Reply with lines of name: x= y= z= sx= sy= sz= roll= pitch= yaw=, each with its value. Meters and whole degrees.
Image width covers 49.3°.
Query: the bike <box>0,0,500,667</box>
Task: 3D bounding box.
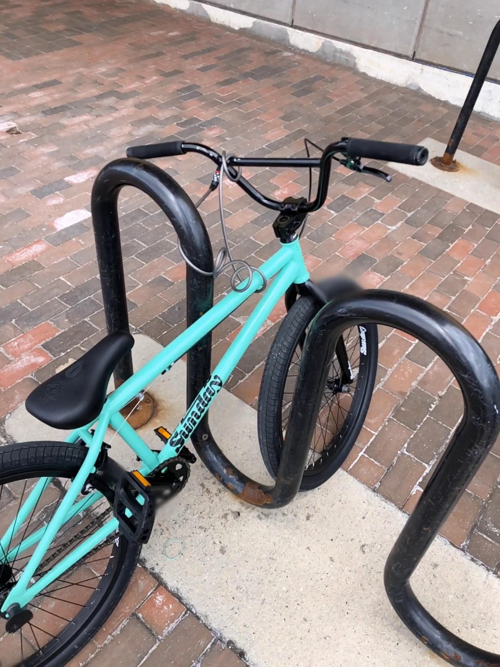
bike: x=-0.167 y=0.090 z=1.128 sx=0.812 sy=1.067 sz=1.468 roll=36 pitch=52 yaw=29
